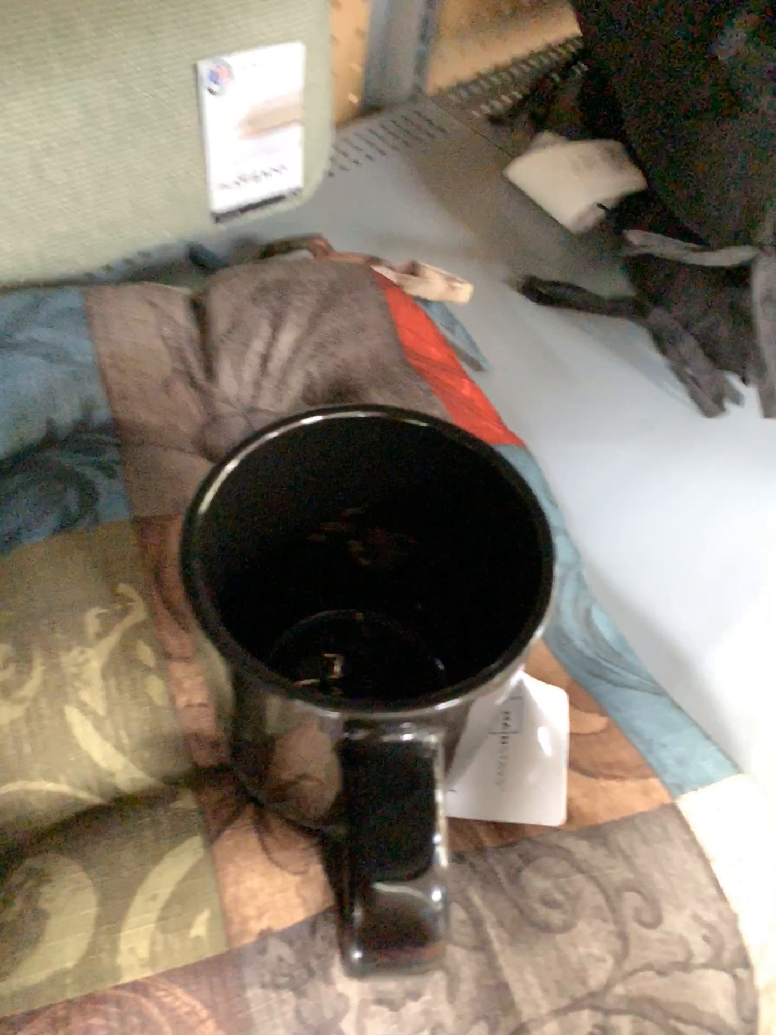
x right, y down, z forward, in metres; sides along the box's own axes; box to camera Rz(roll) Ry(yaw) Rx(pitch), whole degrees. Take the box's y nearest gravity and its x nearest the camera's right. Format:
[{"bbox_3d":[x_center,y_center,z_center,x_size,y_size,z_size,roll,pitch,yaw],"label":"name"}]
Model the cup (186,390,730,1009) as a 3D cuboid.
[{"bbox_3d":[0.002,0.045,0.222,0.100,0.100,0.130,-1,48,-9],"label":"cup"}]
